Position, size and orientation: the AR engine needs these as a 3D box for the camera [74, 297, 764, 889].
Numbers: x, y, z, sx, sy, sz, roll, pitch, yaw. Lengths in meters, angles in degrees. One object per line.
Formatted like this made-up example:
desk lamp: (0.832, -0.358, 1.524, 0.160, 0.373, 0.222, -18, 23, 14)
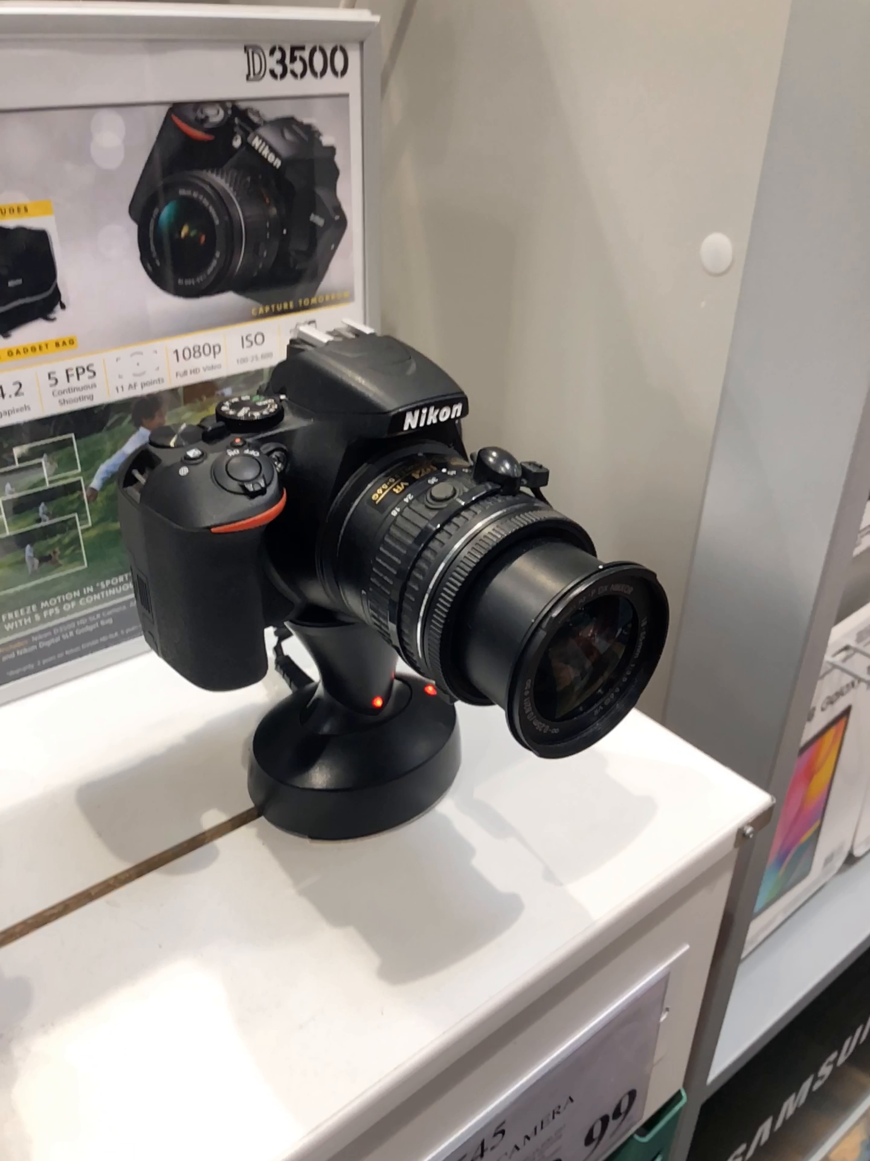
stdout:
camera: (-0.009, -0.015, 0.286, 0.130, 0.089, 0.141, -22, 38, -34)
